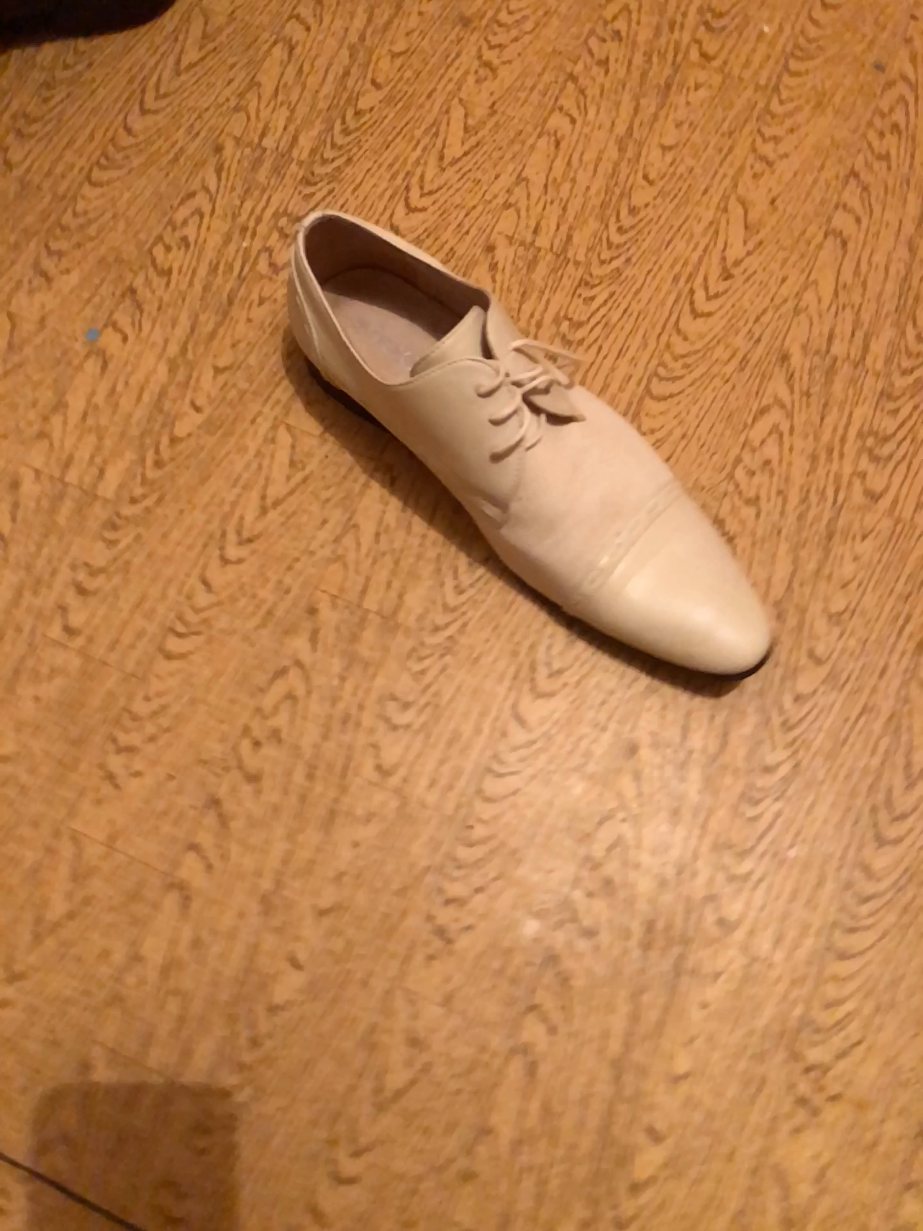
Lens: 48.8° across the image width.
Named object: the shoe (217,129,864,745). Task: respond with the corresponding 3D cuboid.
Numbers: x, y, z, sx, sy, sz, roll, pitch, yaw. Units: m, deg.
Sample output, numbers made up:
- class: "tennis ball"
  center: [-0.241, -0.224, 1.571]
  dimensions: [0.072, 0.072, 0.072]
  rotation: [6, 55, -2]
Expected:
- class: "shoe"
  center: [0.029, -0.087, 0.509]
  dimensions: [0.310, 0.100, 0.100]
  rotation: [44, 79, 12]
